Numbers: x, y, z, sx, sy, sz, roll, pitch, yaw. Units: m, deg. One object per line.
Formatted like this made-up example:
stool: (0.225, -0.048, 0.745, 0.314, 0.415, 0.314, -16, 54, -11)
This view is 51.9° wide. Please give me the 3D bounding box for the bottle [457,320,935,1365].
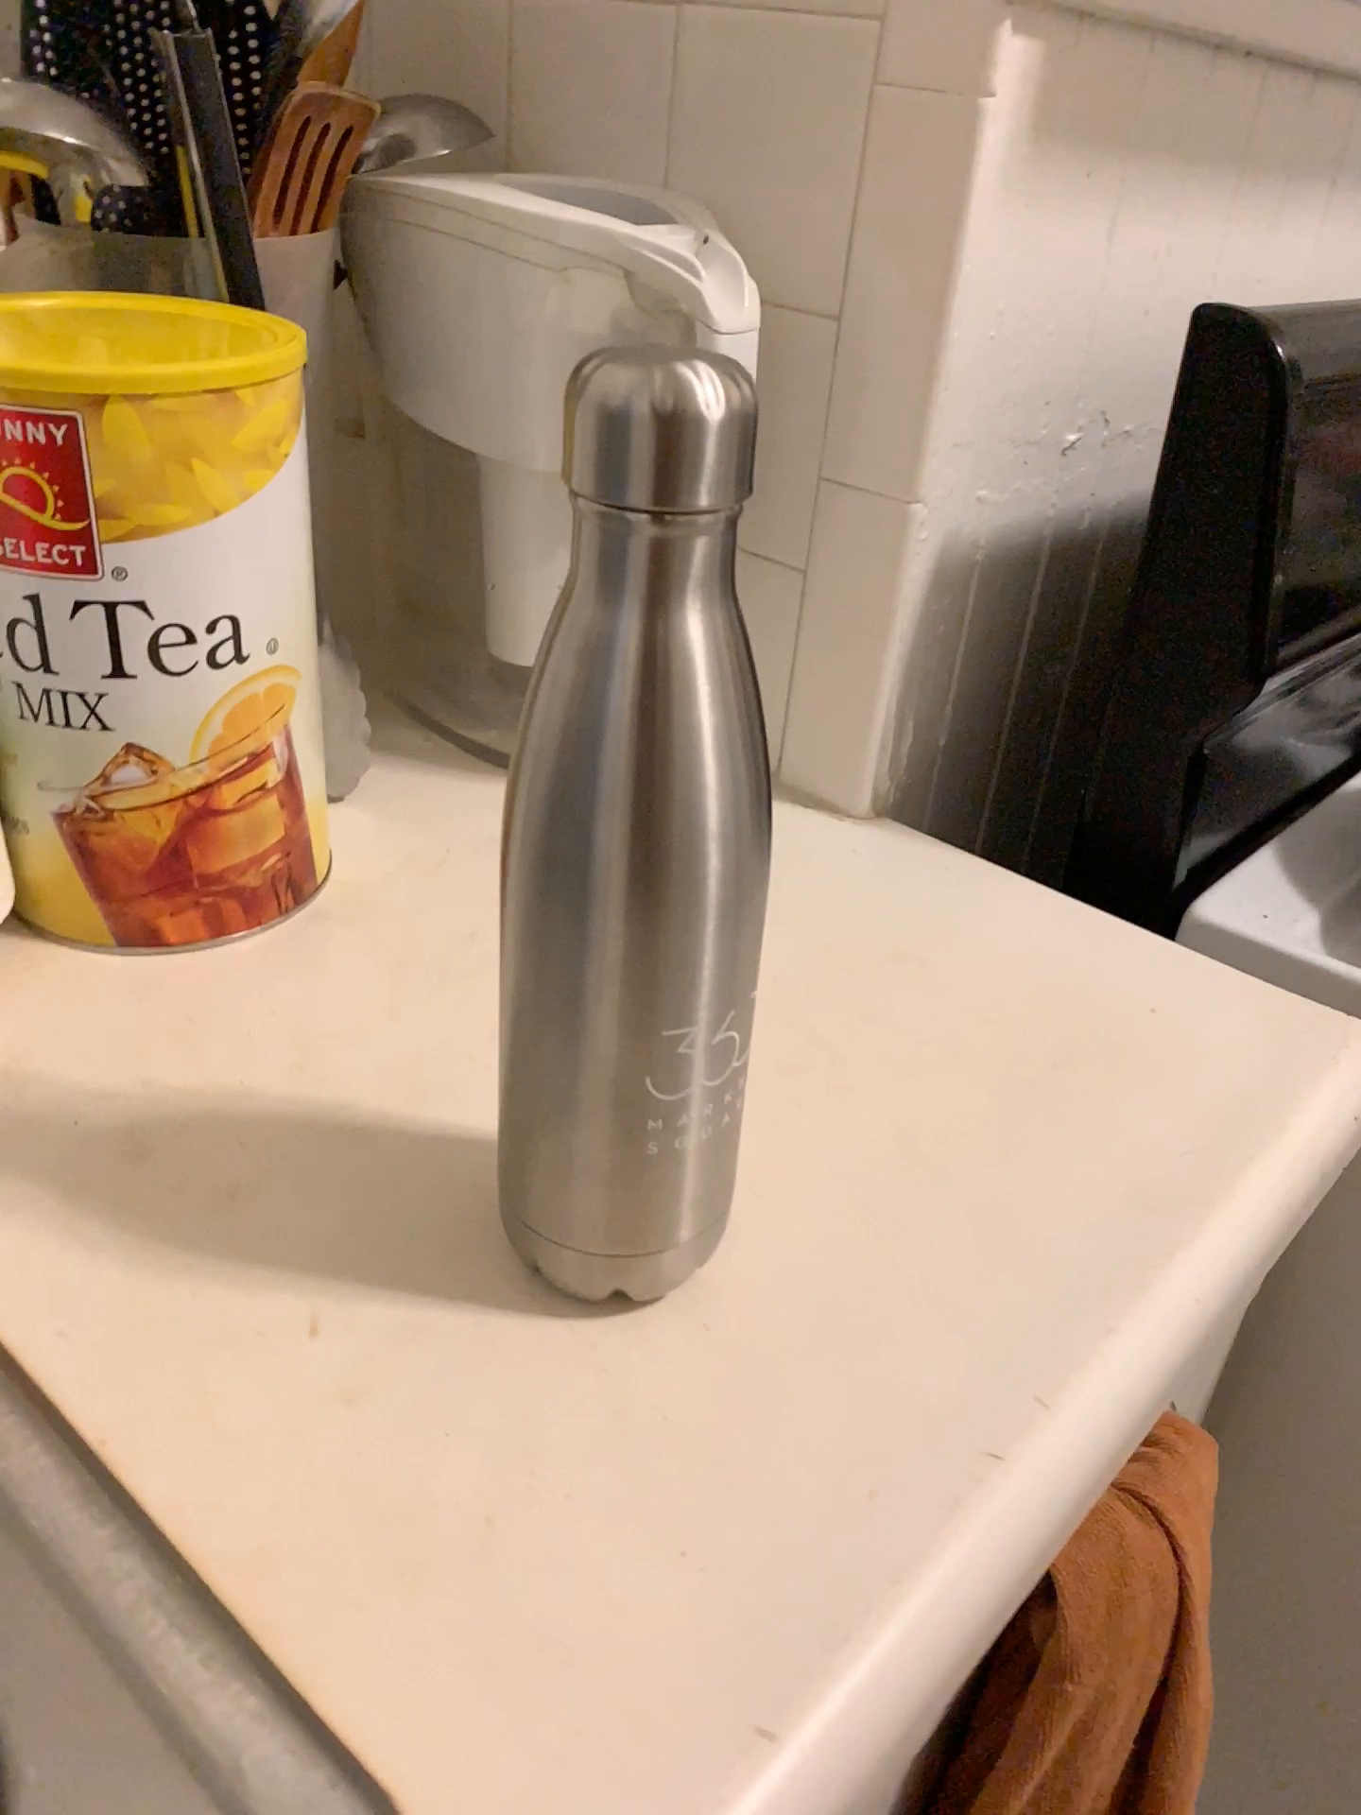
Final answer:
bottle: (-0.007, -0.009, 0.356, 0.070, 0.249, 0.070, 4, 30, -3)
